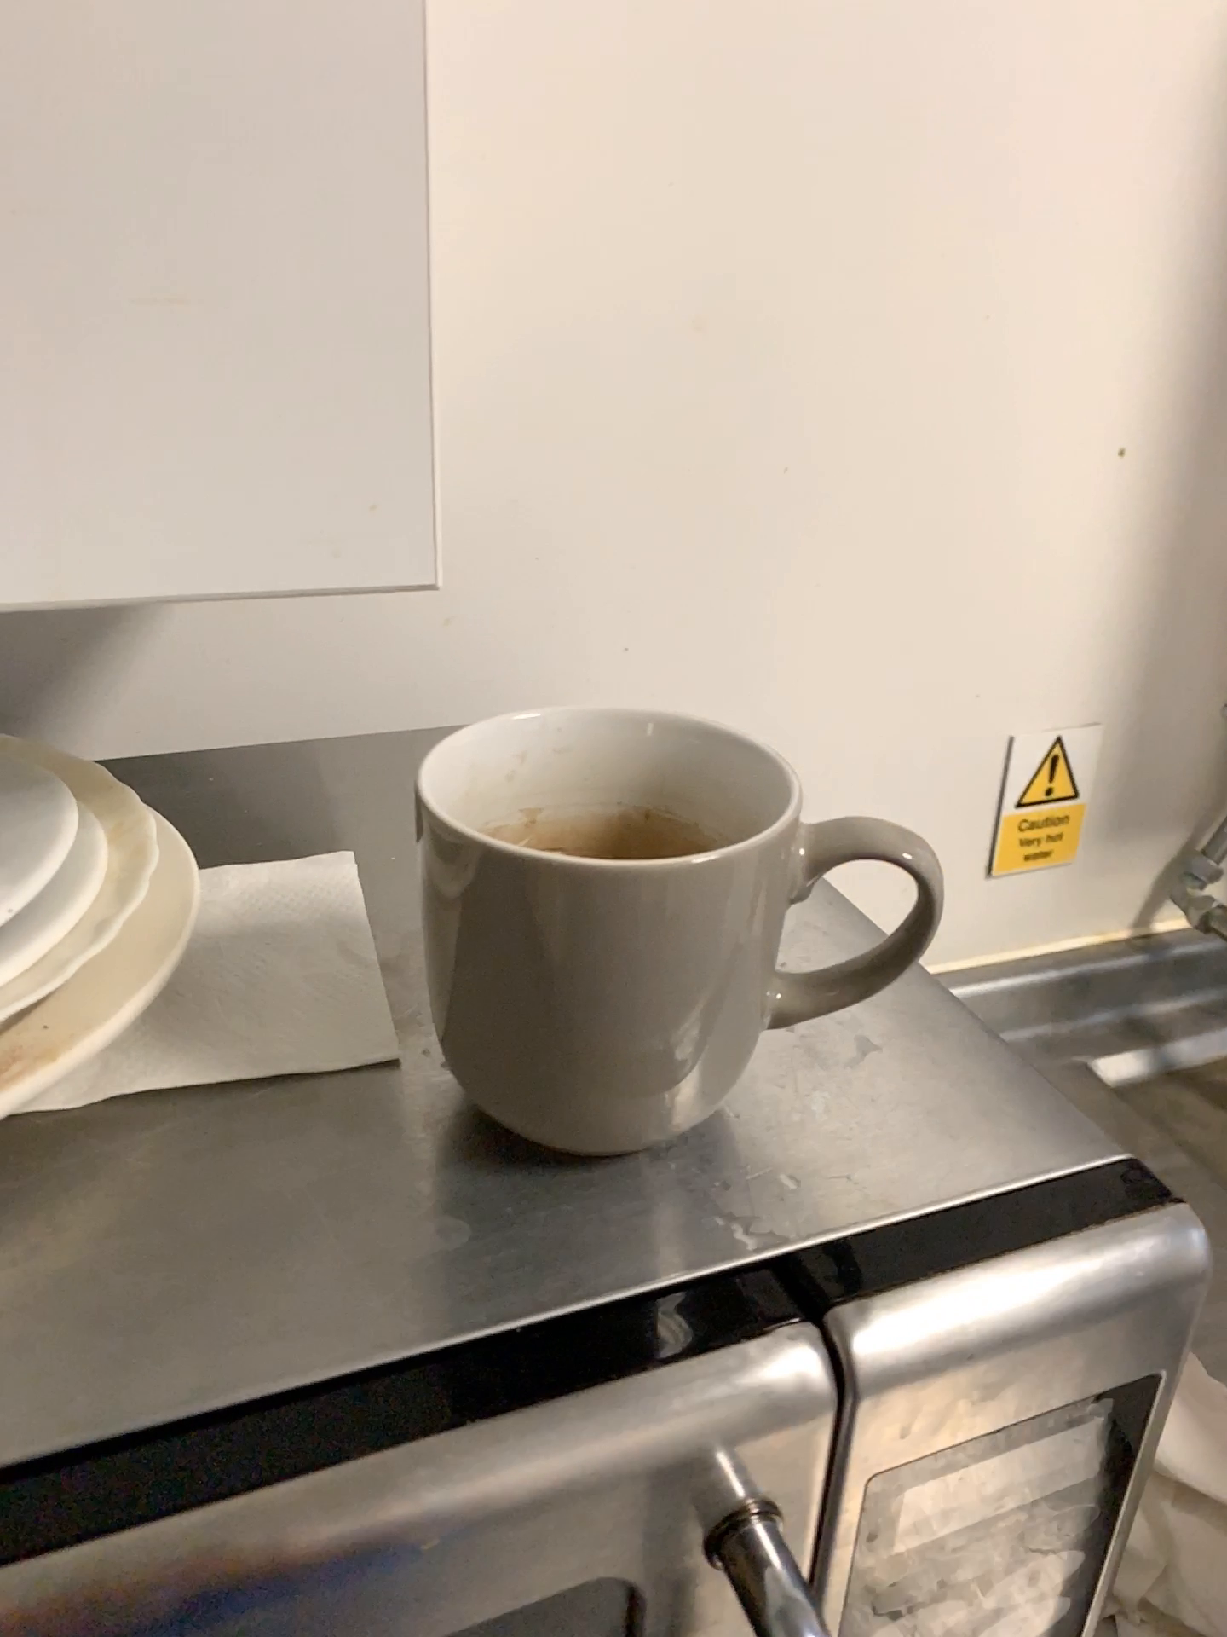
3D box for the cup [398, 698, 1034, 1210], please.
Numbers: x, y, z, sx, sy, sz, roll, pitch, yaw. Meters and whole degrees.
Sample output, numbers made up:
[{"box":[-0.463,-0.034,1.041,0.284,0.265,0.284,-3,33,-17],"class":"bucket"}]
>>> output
[{"box":[0.016,0.026,0.305,0.124,0.079,0.102,0,25,-5],"class":"cup"}]
